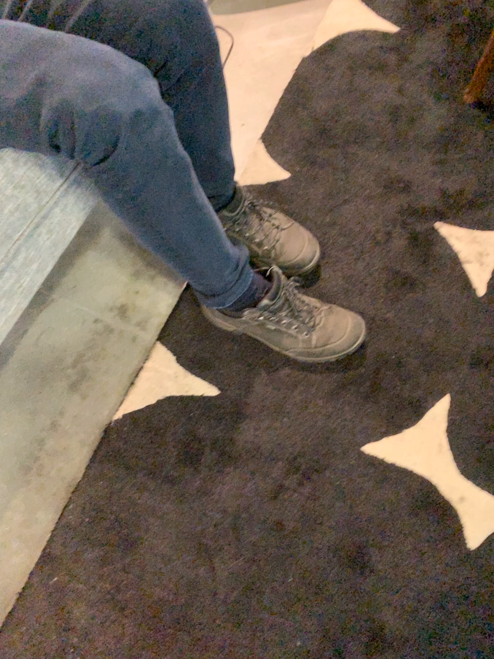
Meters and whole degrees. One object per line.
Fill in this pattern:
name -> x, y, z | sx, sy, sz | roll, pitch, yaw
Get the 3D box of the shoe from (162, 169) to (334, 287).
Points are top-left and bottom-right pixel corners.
shoe -> 0.003, -0.190, 0.936 | 0.284, 0.077, 0.119 | 19, 71, 10

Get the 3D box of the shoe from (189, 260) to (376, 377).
shoe -> 0.060, -0.020, 0.861 | 0.287, 0.077, 0.121 | 13, 70, 7
